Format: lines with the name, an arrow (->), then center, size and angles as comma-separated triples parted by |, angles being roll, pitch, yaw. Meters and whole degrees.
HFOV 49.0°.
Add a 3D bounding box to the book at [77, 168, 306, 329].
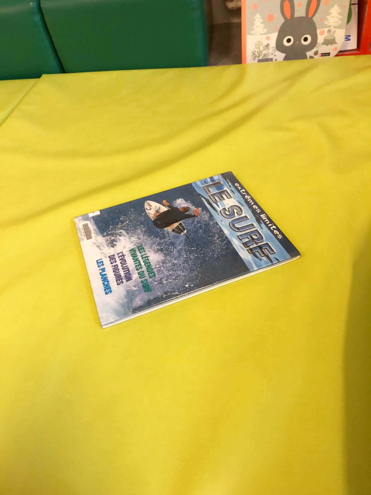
book -> -0.006, -0.018, 0.595 | 0.273, 0.016, 0.227 | -18, 44, -10
